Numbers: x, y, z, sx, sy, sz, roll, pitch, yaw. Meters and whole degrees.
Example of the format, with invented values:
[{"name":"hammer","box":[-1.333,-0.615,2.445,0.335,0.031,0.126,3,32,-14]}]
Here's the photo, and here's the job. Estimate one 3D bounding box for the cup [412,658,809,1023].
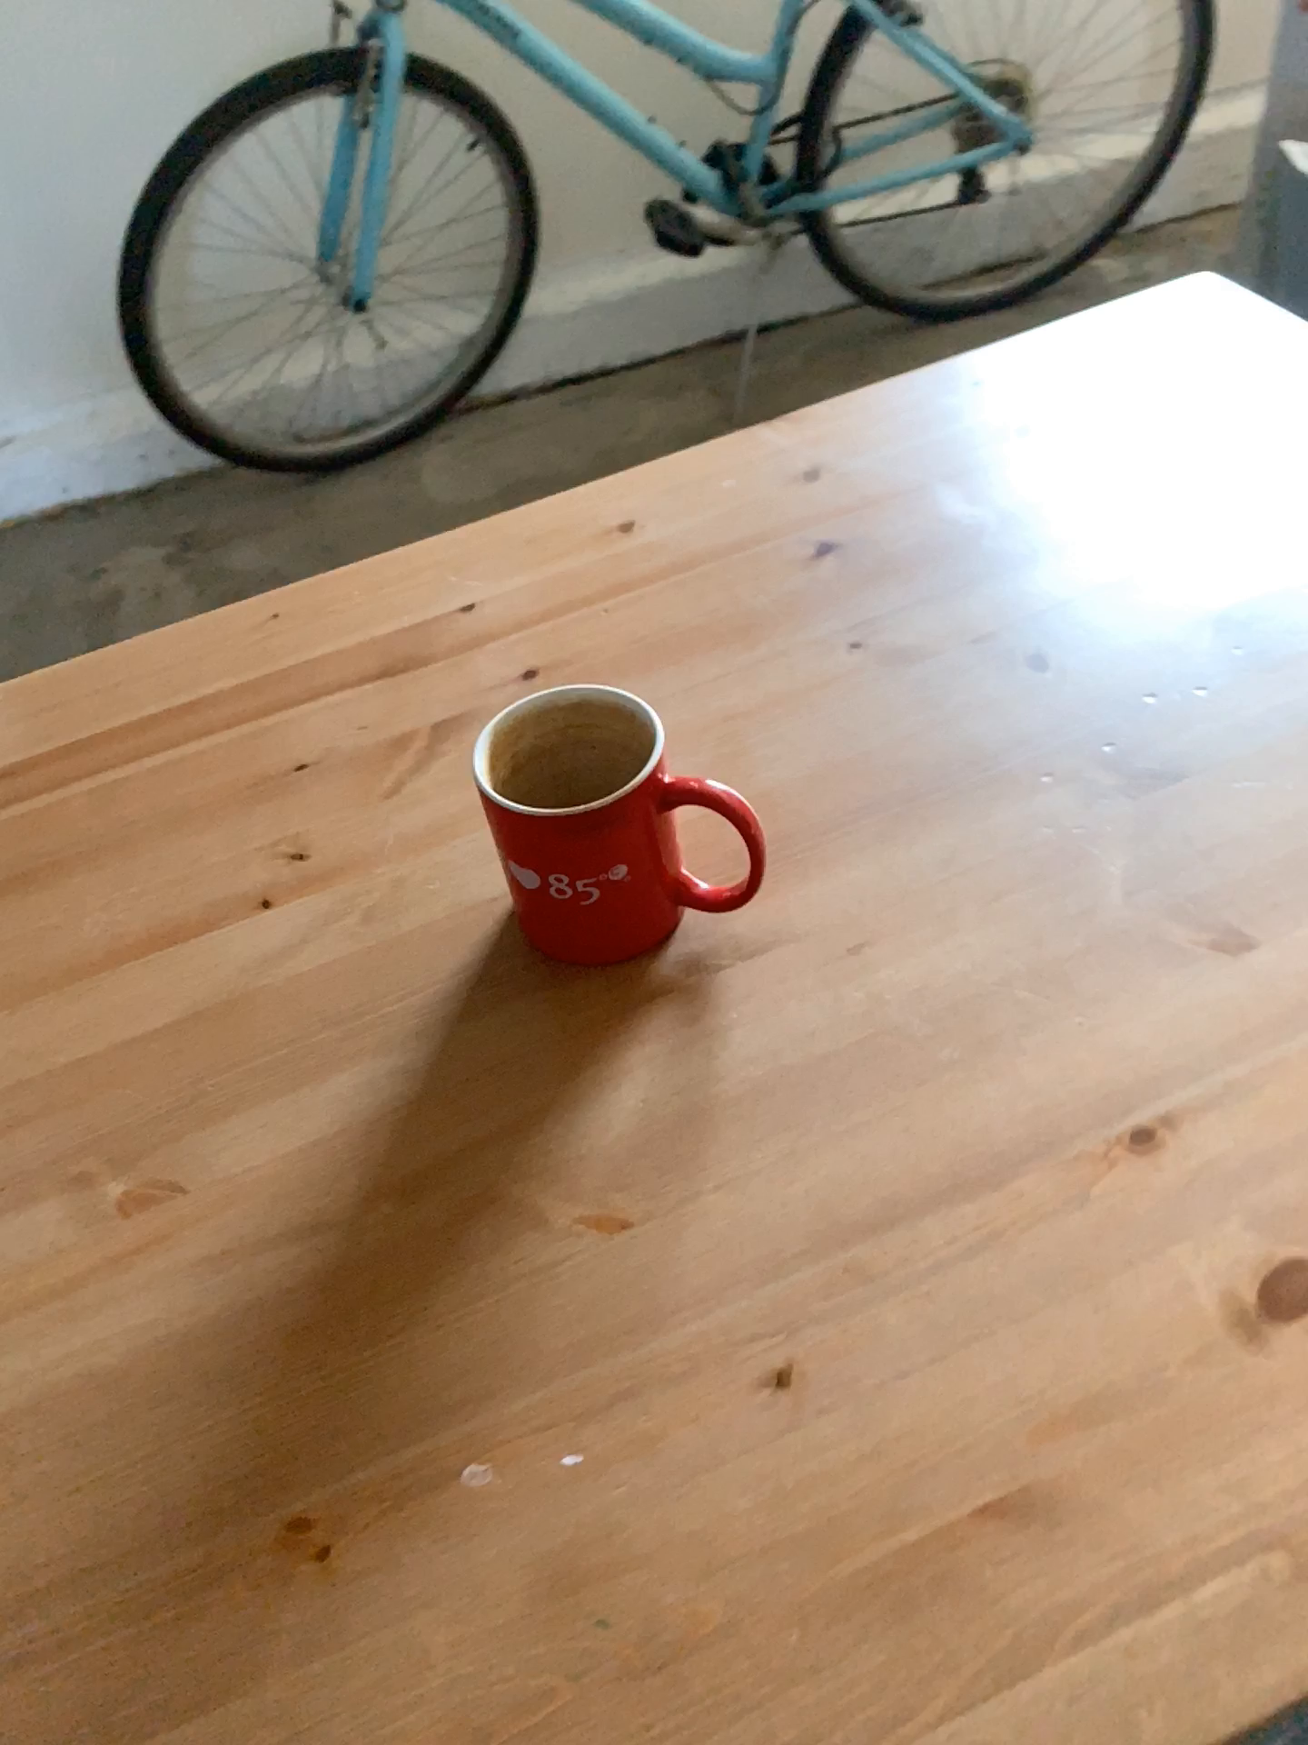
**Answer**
[{"name":"cup","box":[-0.013,-0.017,0.583,0.130,0.090,0.100,13,52,21]}]
